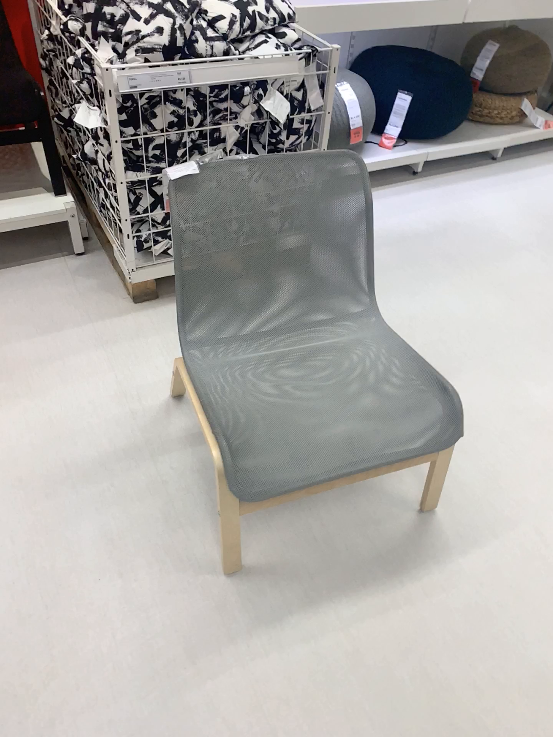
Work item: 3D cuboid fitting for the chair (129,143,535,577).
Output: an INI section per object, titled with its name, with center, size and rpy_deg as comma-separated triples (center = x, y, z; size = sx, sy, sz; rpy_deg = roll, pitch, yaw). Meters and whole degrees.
[chair]
center = 0.039, -0.058, 1.459
size = 0.630, 0.697, 0.752
rpy_deg = -12, 47, -17
